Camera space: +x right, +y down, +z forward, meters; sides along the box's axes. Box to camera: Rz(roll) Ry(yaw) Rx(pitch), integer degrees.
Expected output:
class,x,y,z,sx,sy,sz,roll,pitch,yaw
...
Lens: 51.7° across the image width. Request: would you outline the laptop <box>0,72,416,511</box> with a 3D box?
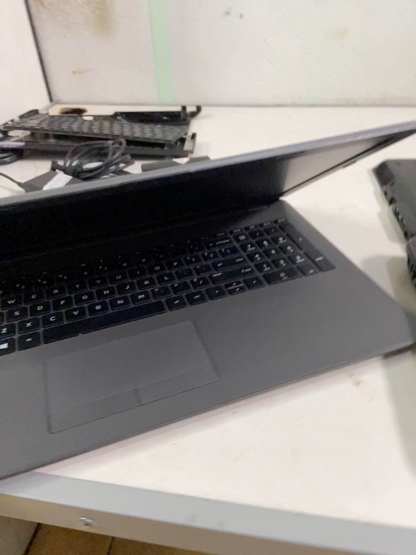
class,x,y,z,sx,sy,sz,roll,pitch,yaw
laptop,-0.051,-0.038,0.340,0.379,0.141,0.248,-14,39,-14
